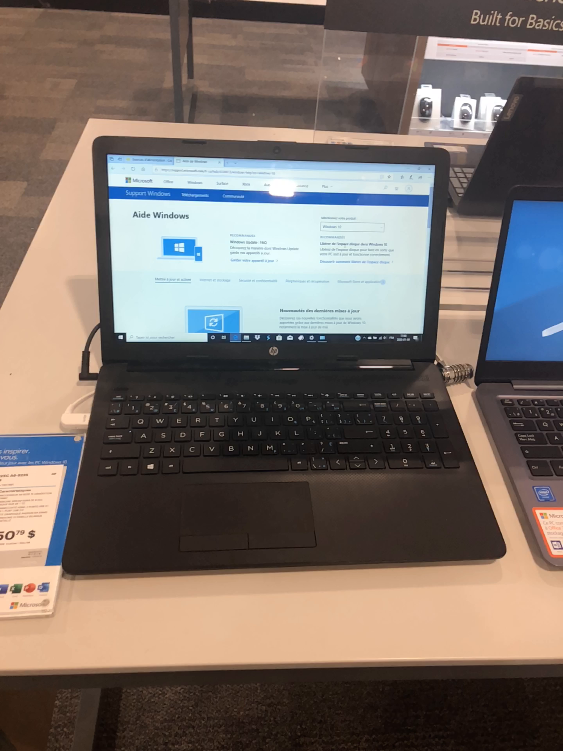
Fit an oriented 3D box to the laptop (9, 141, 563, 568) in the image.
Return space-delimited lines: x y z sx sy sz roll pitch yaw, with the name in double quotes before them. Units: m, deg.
"laptop" 0.001 -0.042 0.565 0.356 0.195 0.361 0 43 -5
